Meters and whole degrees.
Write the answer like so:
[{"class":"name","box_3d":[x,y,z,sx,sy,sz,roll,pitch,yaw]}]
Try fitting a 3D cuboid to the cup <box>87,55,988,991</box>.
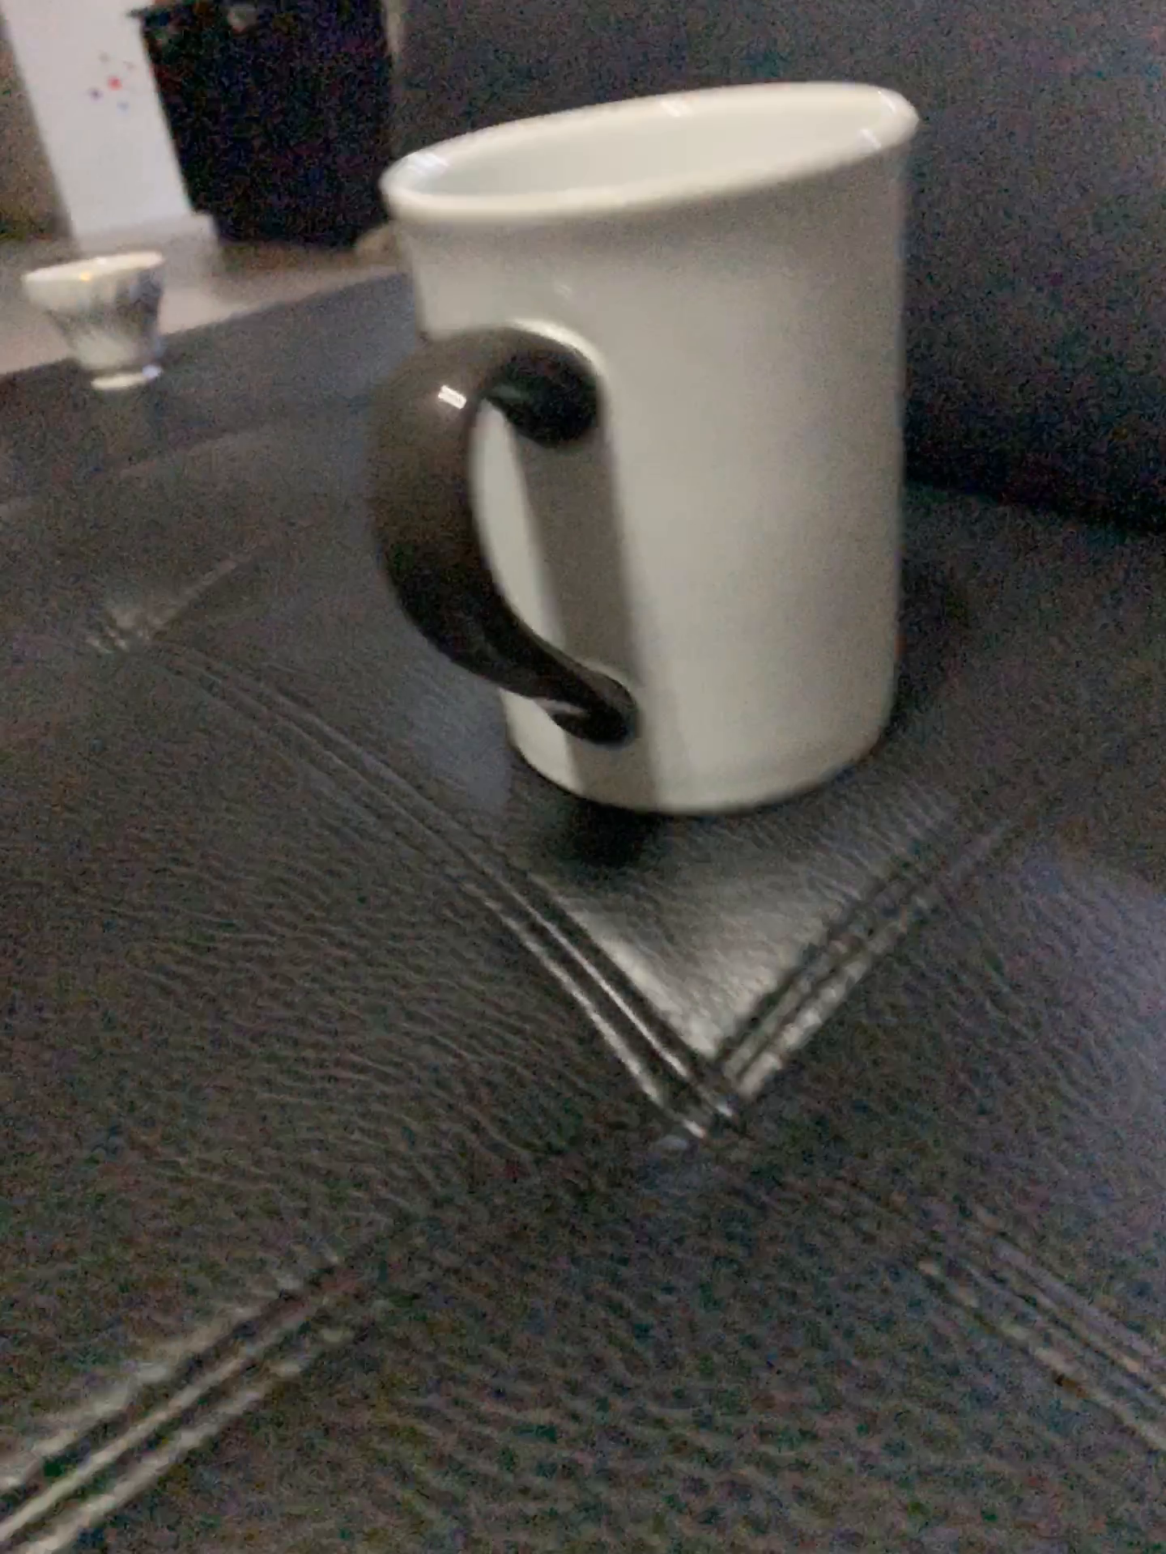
[{"class":"cup","box_3d":[0.007,-0.056,0.222,0.093,0.115,0.124,13,37,29]}]
